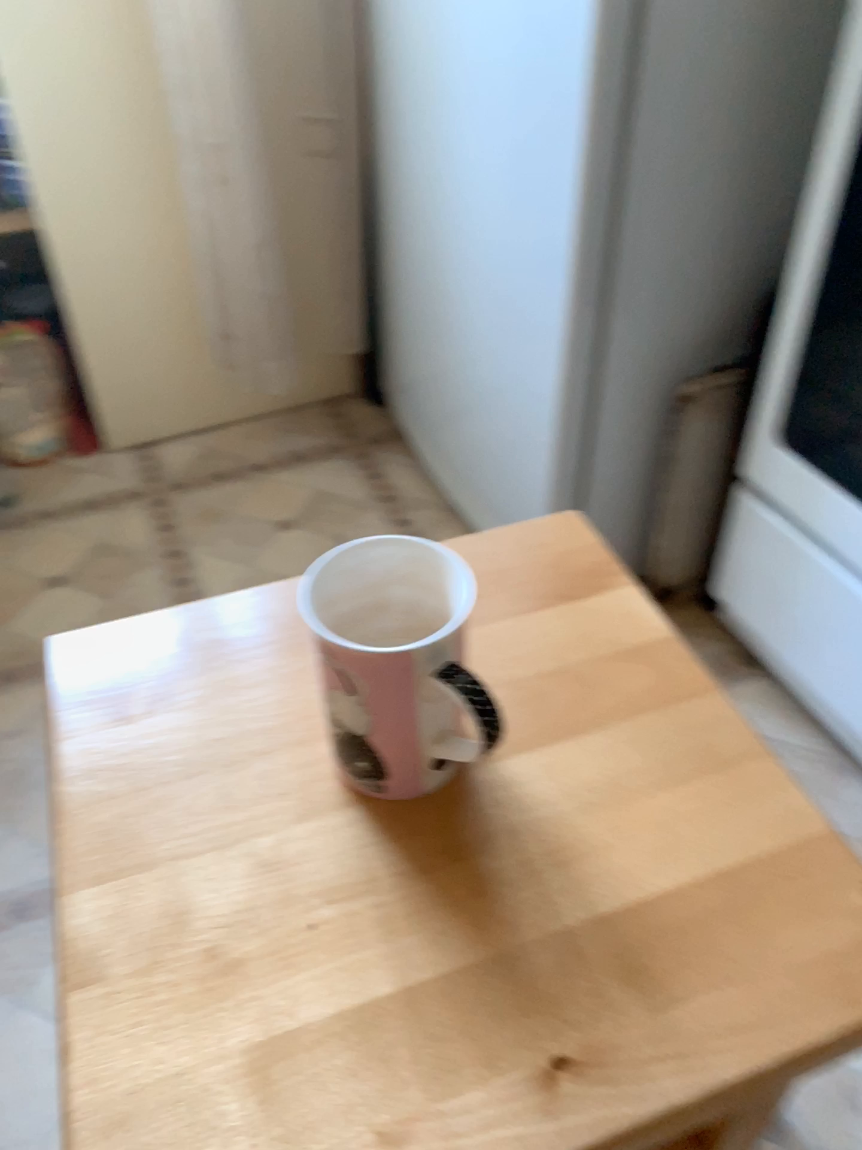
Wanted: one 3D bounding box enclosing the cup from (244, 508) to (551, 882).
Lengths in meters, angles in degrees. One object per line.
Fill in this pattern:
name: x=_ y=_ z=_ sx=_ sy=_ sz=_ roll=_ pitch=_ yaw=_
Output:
cup: x=-0.016 y=0.050 z=0.407 sx=0.080 sy=0.099 sz=0.111 roll=-26 pitch=46 yaw=-26
